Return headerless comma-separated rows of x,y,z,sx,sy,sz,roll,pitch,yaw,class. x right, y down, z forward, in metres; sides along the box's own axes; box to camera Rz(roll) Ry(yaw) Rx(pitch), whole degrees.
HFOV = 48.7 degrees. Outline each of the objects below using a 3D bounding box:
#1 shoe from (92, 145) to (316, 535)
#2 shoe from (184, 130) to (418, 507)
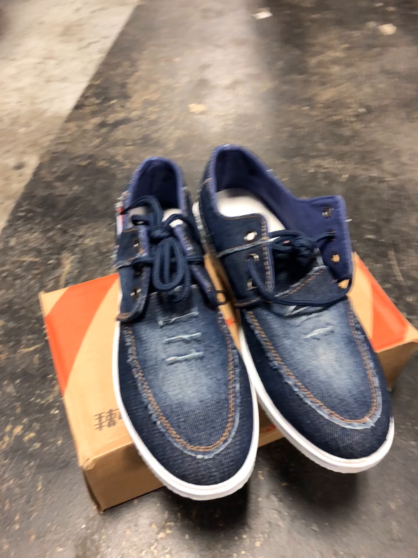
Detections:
-0.022,0.018,0.318,0.090,0.079,0.252,-8,51,-10,shoe
0.064,0.004,0.346,0.100,0.079,0.272,-11,51,-13,shoe
